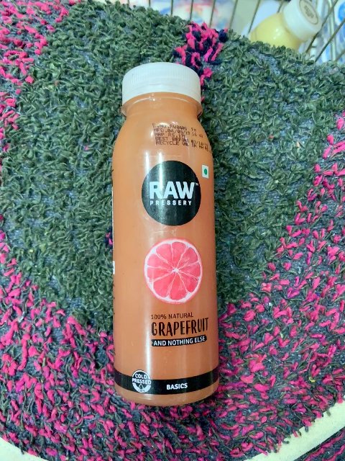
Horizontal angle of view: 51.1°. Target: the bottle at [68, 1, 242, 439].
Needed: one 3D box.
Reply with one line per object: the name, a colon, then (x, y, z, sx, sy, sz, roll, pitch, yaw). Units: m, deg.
bottle: (-0.008, -0.006, 0.163, 0.060, 0.060, 0.160, 1, 83, -6)
